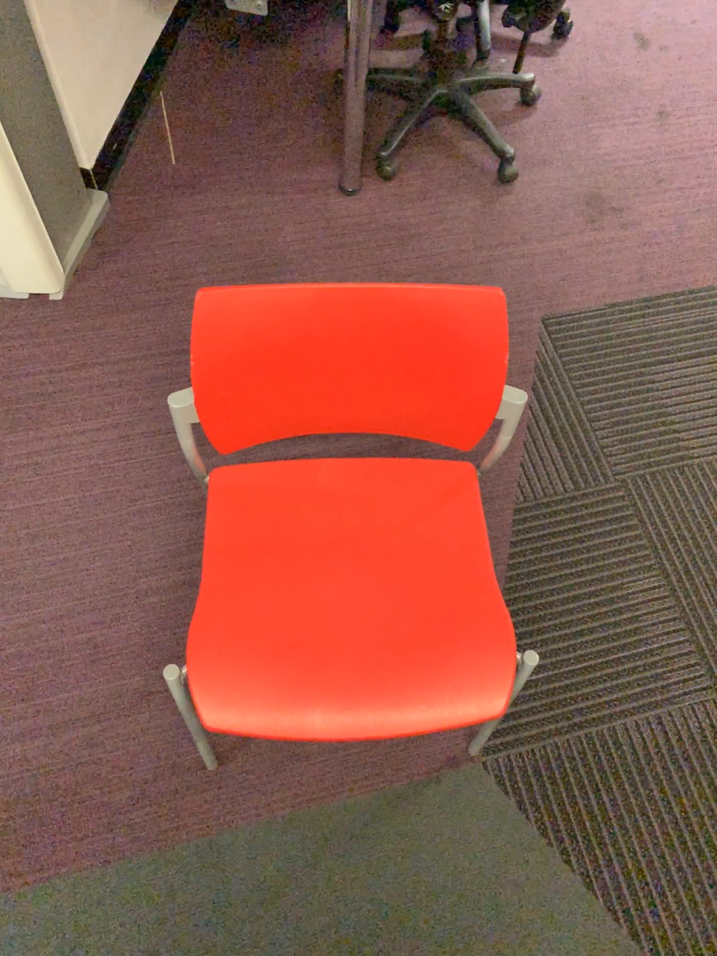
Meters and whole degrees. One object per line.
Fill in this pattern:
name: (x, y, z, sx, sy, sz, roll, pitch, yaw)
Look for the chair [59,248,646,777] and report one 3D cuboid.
chair: (-0.004, 0.115, 1.107, 0.540, 0.686, 0.563, 1, 63, 0)
